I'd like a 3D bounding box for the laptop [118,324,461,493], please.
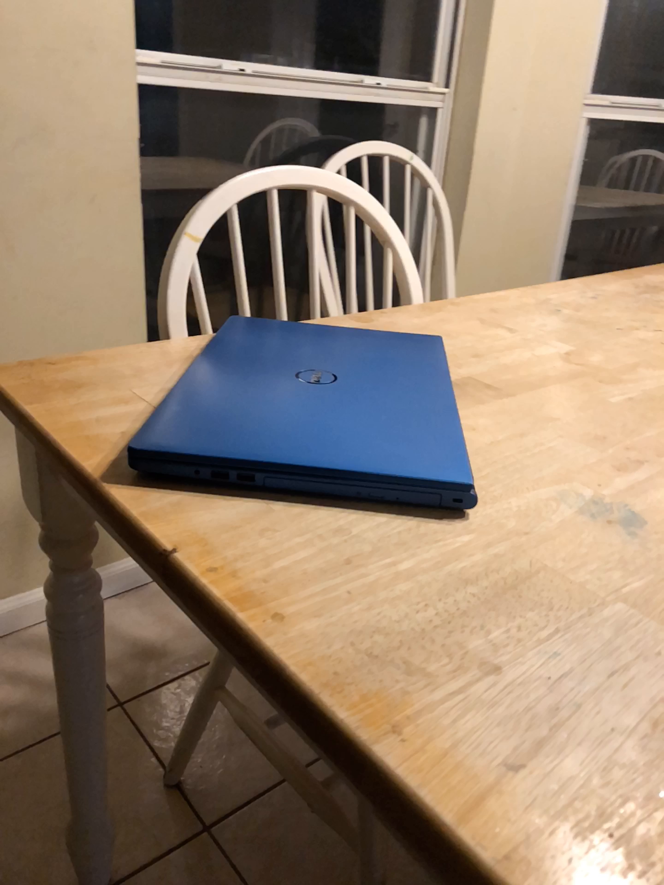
[{"bbox_3d":[-0.018,-0.055,0.722,0.259,0.001,0.390,5,25,3],"label":"laptop"}]
